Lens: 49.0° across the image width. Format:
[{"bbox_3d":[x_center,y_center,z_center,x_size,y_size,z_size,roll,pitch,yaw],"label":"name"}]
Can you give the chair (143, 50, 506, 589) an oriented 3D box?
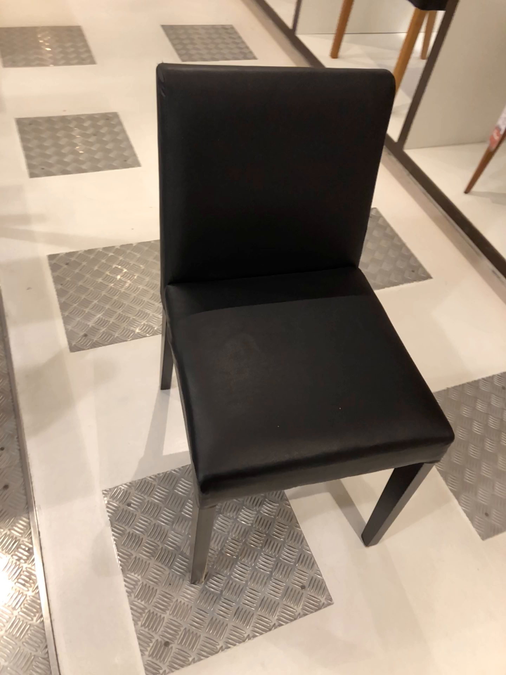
[{"bbox_3d":[0.066,0.016,1.050,0.471,0.825,0.553,-6,51,-15],"label":"chair"}]
